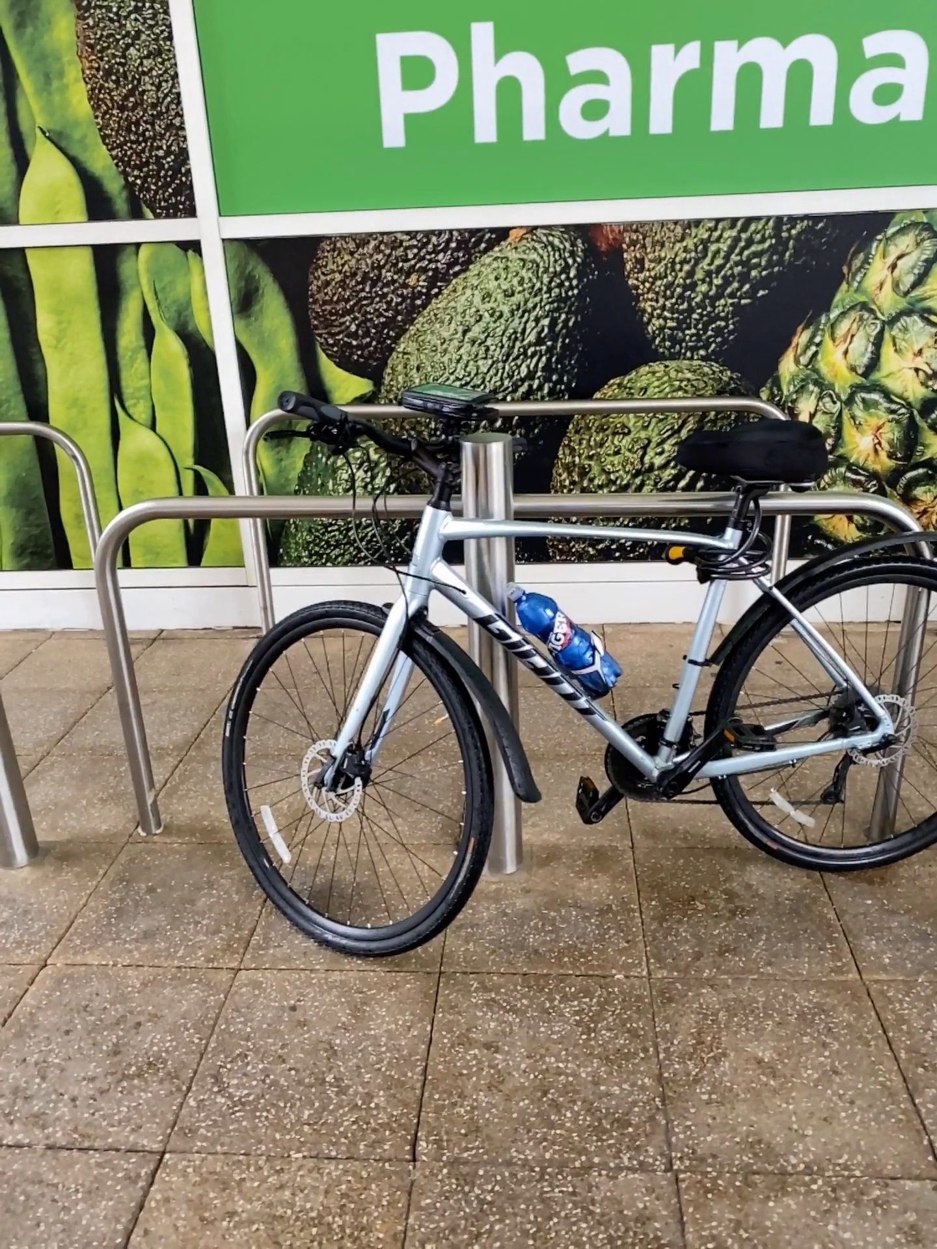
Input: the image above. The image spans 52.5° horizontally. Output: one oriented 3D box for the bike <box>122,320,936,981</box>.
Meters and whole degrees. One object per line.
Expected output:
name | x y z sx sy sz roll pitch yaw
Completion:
bike | 0.275 0.003 1.704 1.461 0.963 0.608 -3 22 -2
